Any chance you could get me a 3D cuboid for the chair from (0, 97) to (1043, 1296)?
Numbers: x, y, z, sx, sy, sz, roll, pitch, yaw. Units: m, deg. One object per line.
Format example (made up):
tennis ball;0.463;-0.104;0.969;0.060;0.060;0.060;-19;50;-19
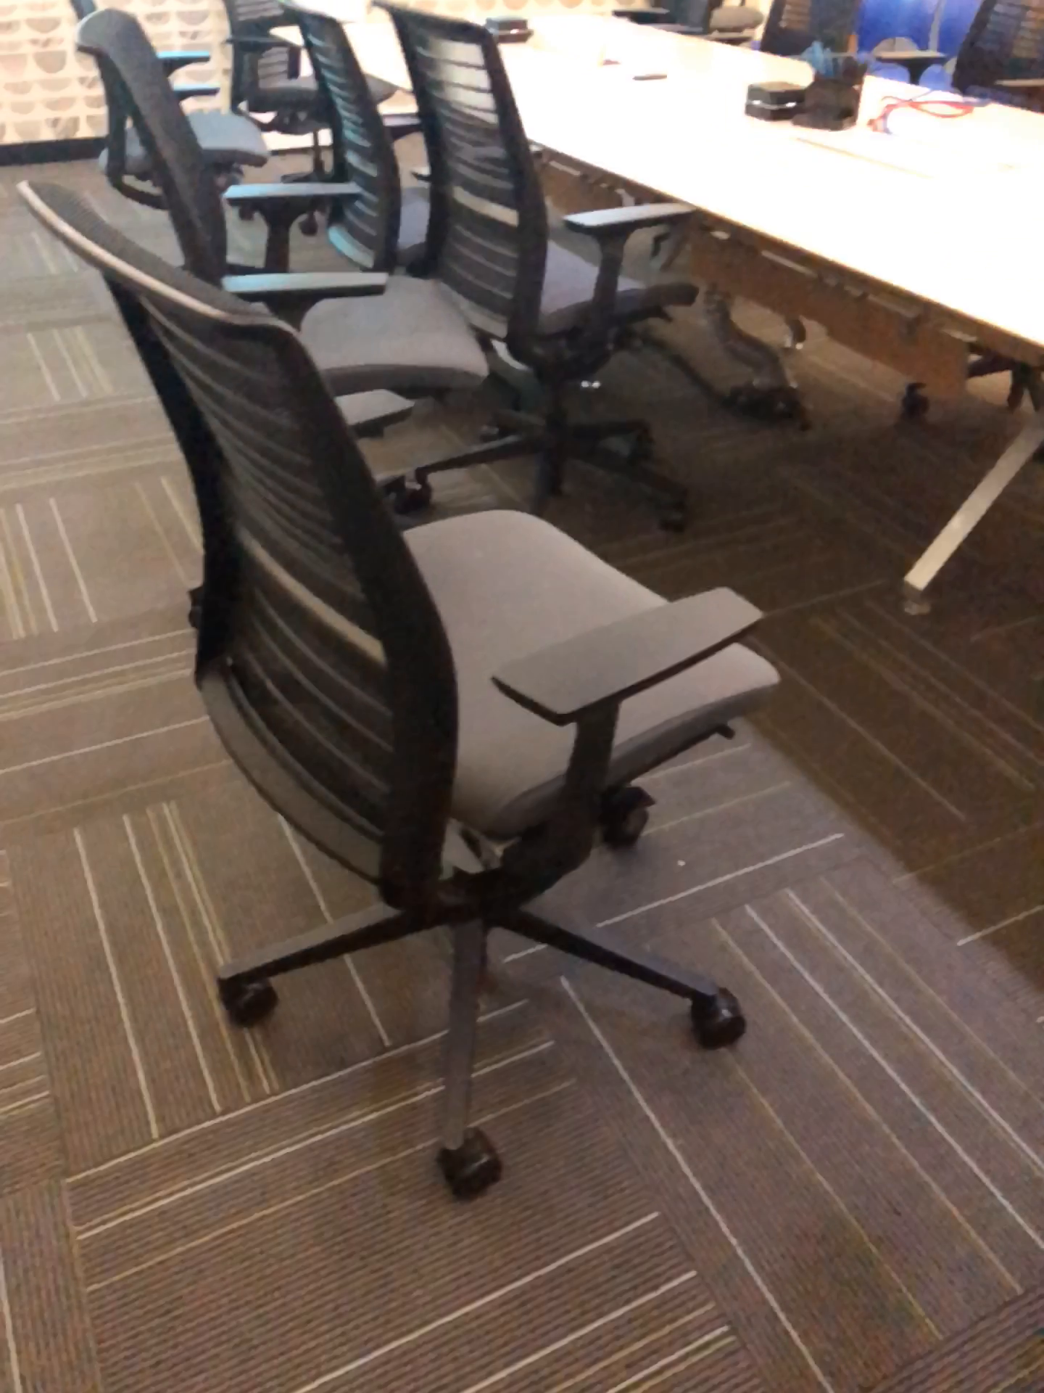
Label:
chair;-0.059;-0.083;1.217;0.661;0.856;0.722;-24;42;-31
